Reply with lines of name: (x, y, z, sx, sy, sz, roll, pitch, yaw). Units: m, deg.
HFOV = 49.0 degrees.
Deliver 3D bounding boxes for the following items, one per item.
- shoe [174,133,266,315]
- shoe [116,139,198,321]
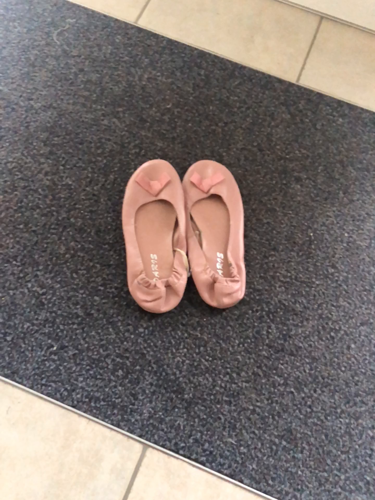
shoe: (0.037, -0.036, 0.583, 0.090, 0.100, 0.230, -5, 71, -4)
shoe: (-0.045, -0.027, 0.583, 0.090, 0.100, 0.230, -5, 71, -4)
